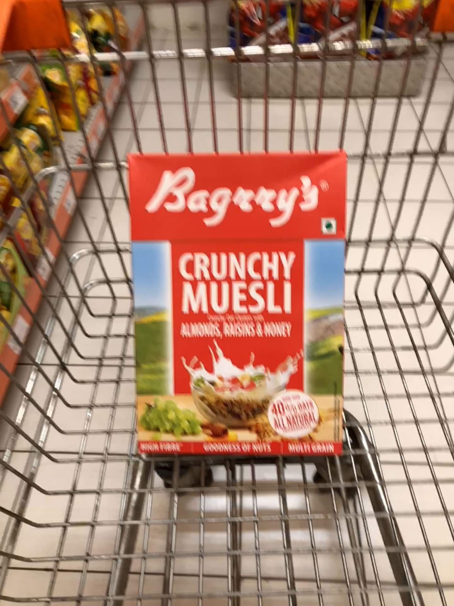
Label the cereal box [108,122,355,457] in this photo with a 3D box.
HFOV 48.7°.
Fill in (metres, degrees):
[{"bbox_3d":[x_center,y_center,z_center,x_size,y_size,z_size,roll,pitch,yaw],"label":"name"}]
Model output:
[{"bbox_3d":[0.005,-0.008,0.444,0.190,0.279,0.060,0,12,2],"label":"cereal box"}]
